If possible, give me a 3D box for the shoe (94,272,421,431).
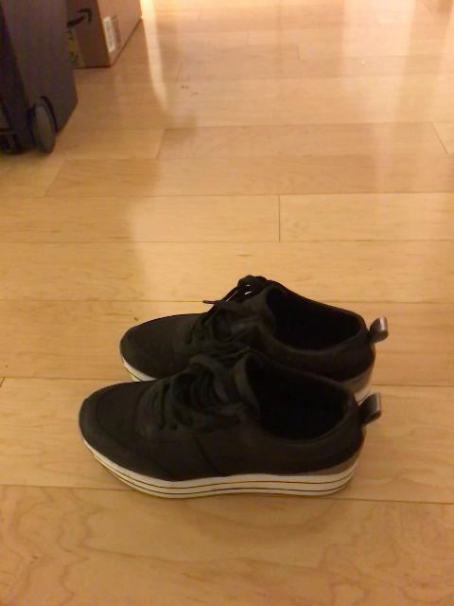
[{"bbox_3d":[0.030,0.048,0.518,0.290,0.109,0.121,0,44,4],"label":"shoe"}]

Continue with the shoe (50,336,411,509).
[{"bbox_3d":[0.005,0.111,0.472,0.290,0.099,0.121,0,44,4],"label":"shoe"}]
